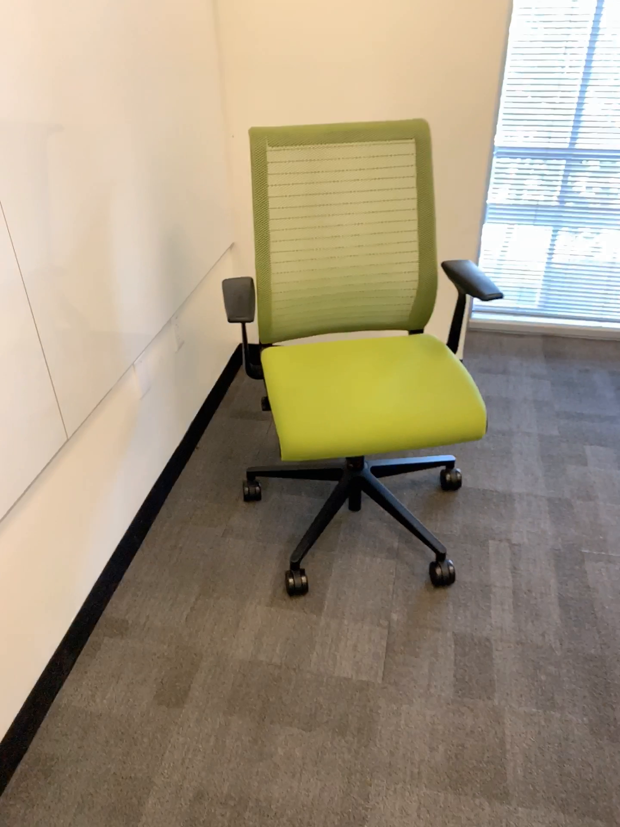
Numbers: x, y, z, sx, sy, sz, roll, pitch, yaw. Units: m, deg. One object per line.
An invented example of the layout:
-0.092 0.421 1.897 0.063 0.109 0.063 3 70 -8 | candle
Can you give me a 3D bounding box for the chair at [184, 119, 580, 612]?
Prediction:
0.095 -0.166 1.732 0.700 0.994 0.845 -5 35 -5 | chair
